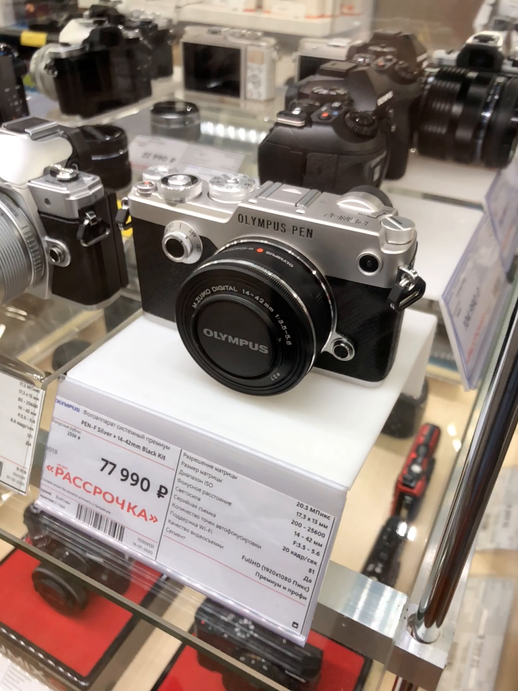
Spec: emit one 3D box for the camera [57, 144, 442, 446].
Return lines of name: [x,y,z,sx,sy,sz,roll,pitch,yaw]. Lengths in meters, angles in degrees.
camera: [-0.003,-0.029,0.243,0.127,0.070,0.077,17,38,20]

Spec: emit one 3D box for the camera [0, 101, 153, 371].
camera: [-0.137,-0.063,0.288,0.127,0.075,0.099,19,38,22]

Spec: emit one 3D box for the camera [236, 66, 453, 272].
camera: [0.053,-0.114,0.351,0.083,0.075,0.128,18,38,21]
